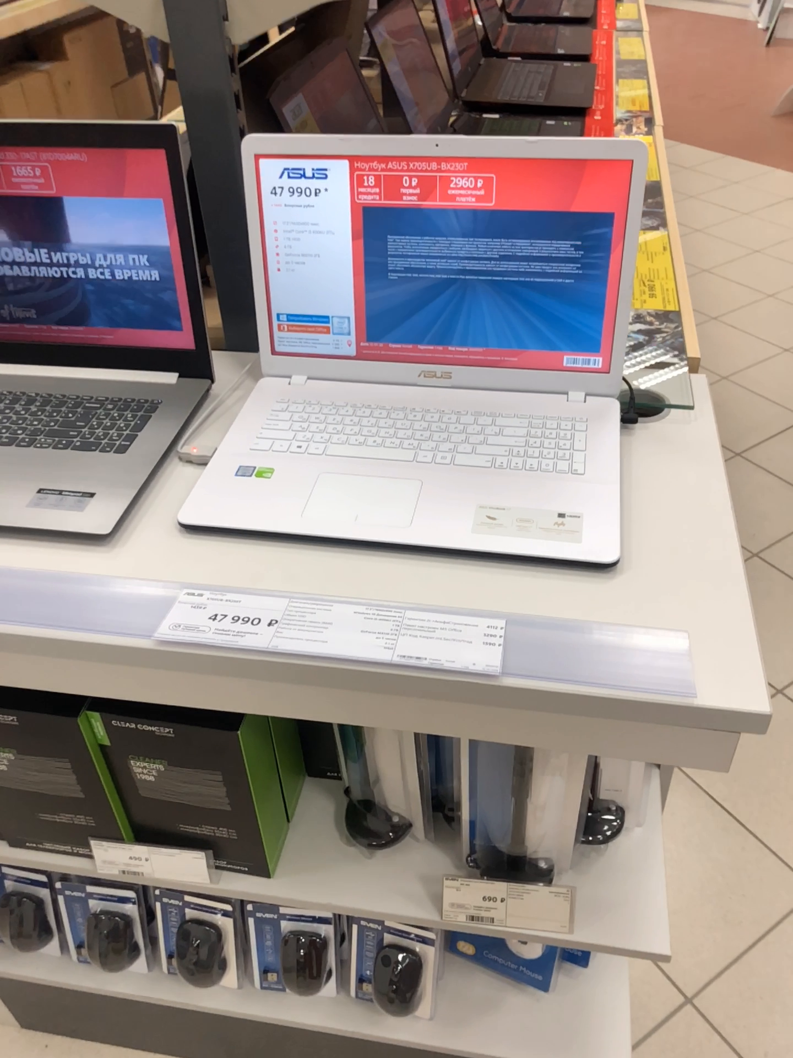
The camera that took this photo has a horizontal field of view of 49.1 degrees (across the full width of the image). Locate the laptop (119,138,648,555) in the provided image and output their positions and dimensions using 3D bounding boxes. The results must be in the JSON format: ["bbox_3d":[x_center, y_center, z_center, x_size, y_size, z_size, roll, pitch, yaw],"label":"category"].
[{"bbox_3d":[0.006,-0.186,0.802,0.386,0.235,0.302,4,40,10],"label":"laptop"}]
